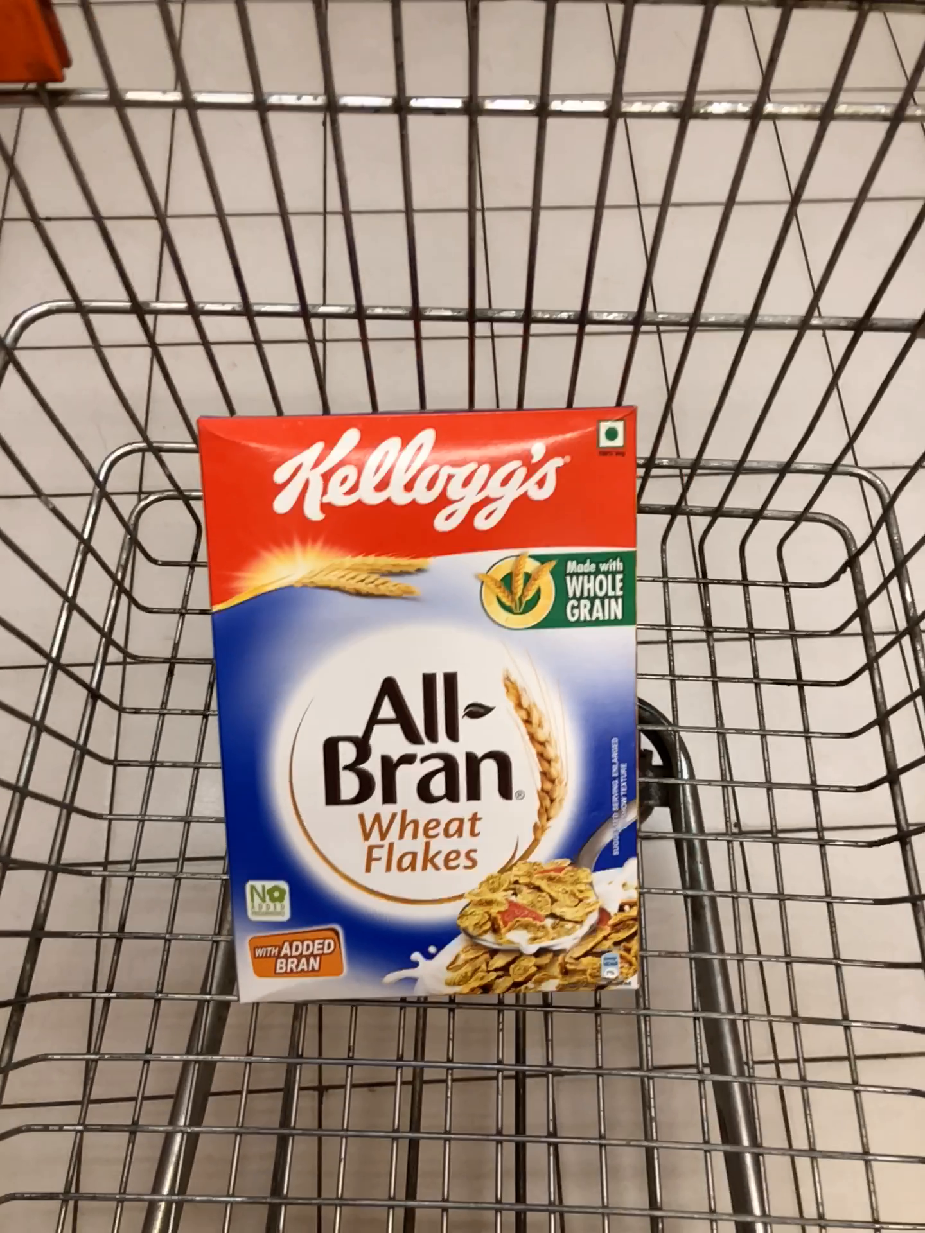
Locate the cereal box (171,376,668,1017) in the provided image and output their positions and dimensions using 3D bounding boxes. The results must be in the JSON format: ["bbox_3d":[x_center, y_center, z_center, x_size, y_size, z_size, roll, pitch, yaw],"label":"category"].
[{"bbox_3d":[-0.015,0.032,0.458,0.190,0.080,0.270,-1,102,-1],"label":"cereal box"}]
